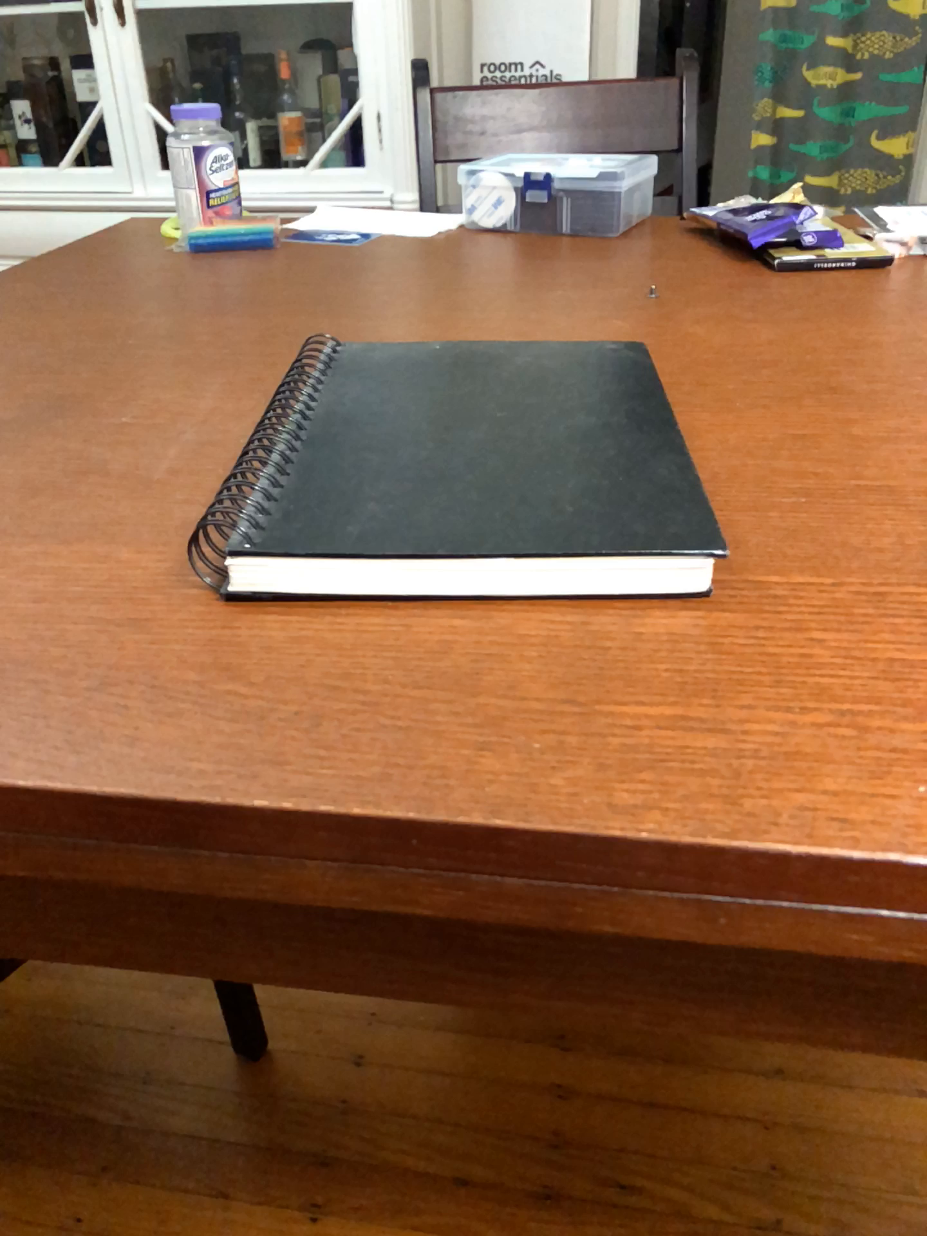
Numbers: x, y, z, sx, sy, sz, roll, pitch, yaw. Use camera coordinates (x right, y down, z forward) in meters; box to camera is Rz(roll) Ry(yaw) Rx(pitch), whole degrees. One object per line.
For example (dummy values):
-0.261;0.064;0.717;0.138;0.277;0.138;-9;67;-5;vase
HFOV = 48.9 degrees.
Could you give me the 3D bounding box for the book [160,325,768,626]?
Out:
0.003;-0.079;0.455;0.200;0.030;0.262;-1;31;2;book
